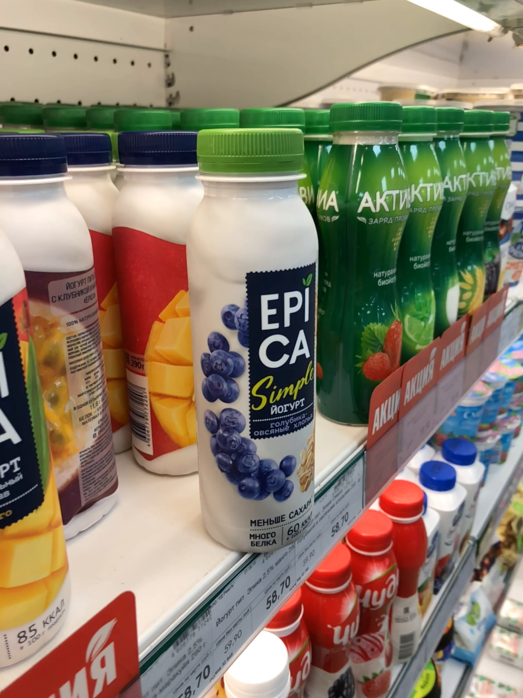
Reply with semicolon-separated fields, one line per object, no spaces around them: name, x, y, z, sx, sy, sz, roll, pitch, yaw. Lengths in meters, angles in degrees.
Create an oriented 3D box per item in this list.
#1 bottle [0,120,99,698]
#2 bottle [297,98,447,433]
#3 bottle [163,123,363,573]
bottle;-0.093;0.019;0.184;0.053;0.170;0.049;0;21;0
bottle;0.061;-0.049;0.346;0.053;0.182;0.052;0;21;0
bottle;-0.001;-0.002;0.241;0.053;0.170;0.052;0;21;0
